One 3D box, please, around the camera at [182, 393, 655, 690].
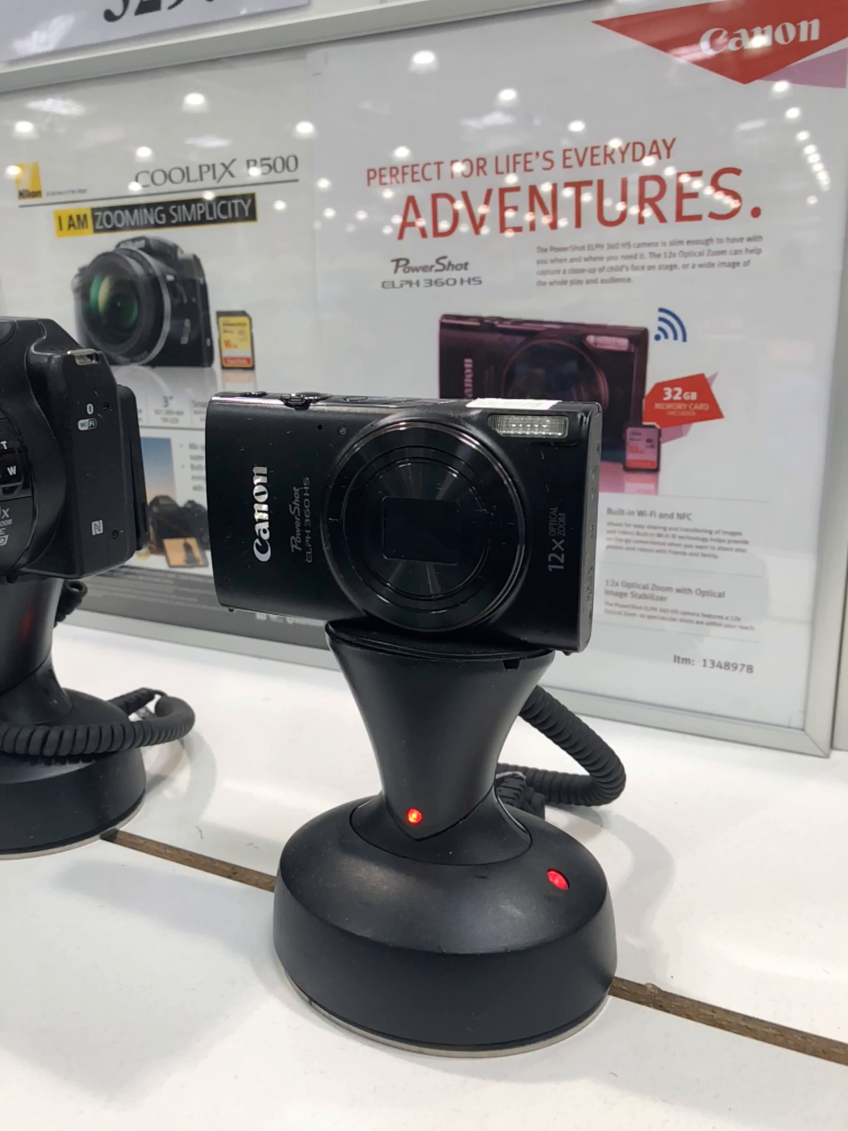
[{"bbox_3d":[-0.002,-0.011,0.241,0.110,0.060,0.040,5,16,24],"label":"camera"}]
